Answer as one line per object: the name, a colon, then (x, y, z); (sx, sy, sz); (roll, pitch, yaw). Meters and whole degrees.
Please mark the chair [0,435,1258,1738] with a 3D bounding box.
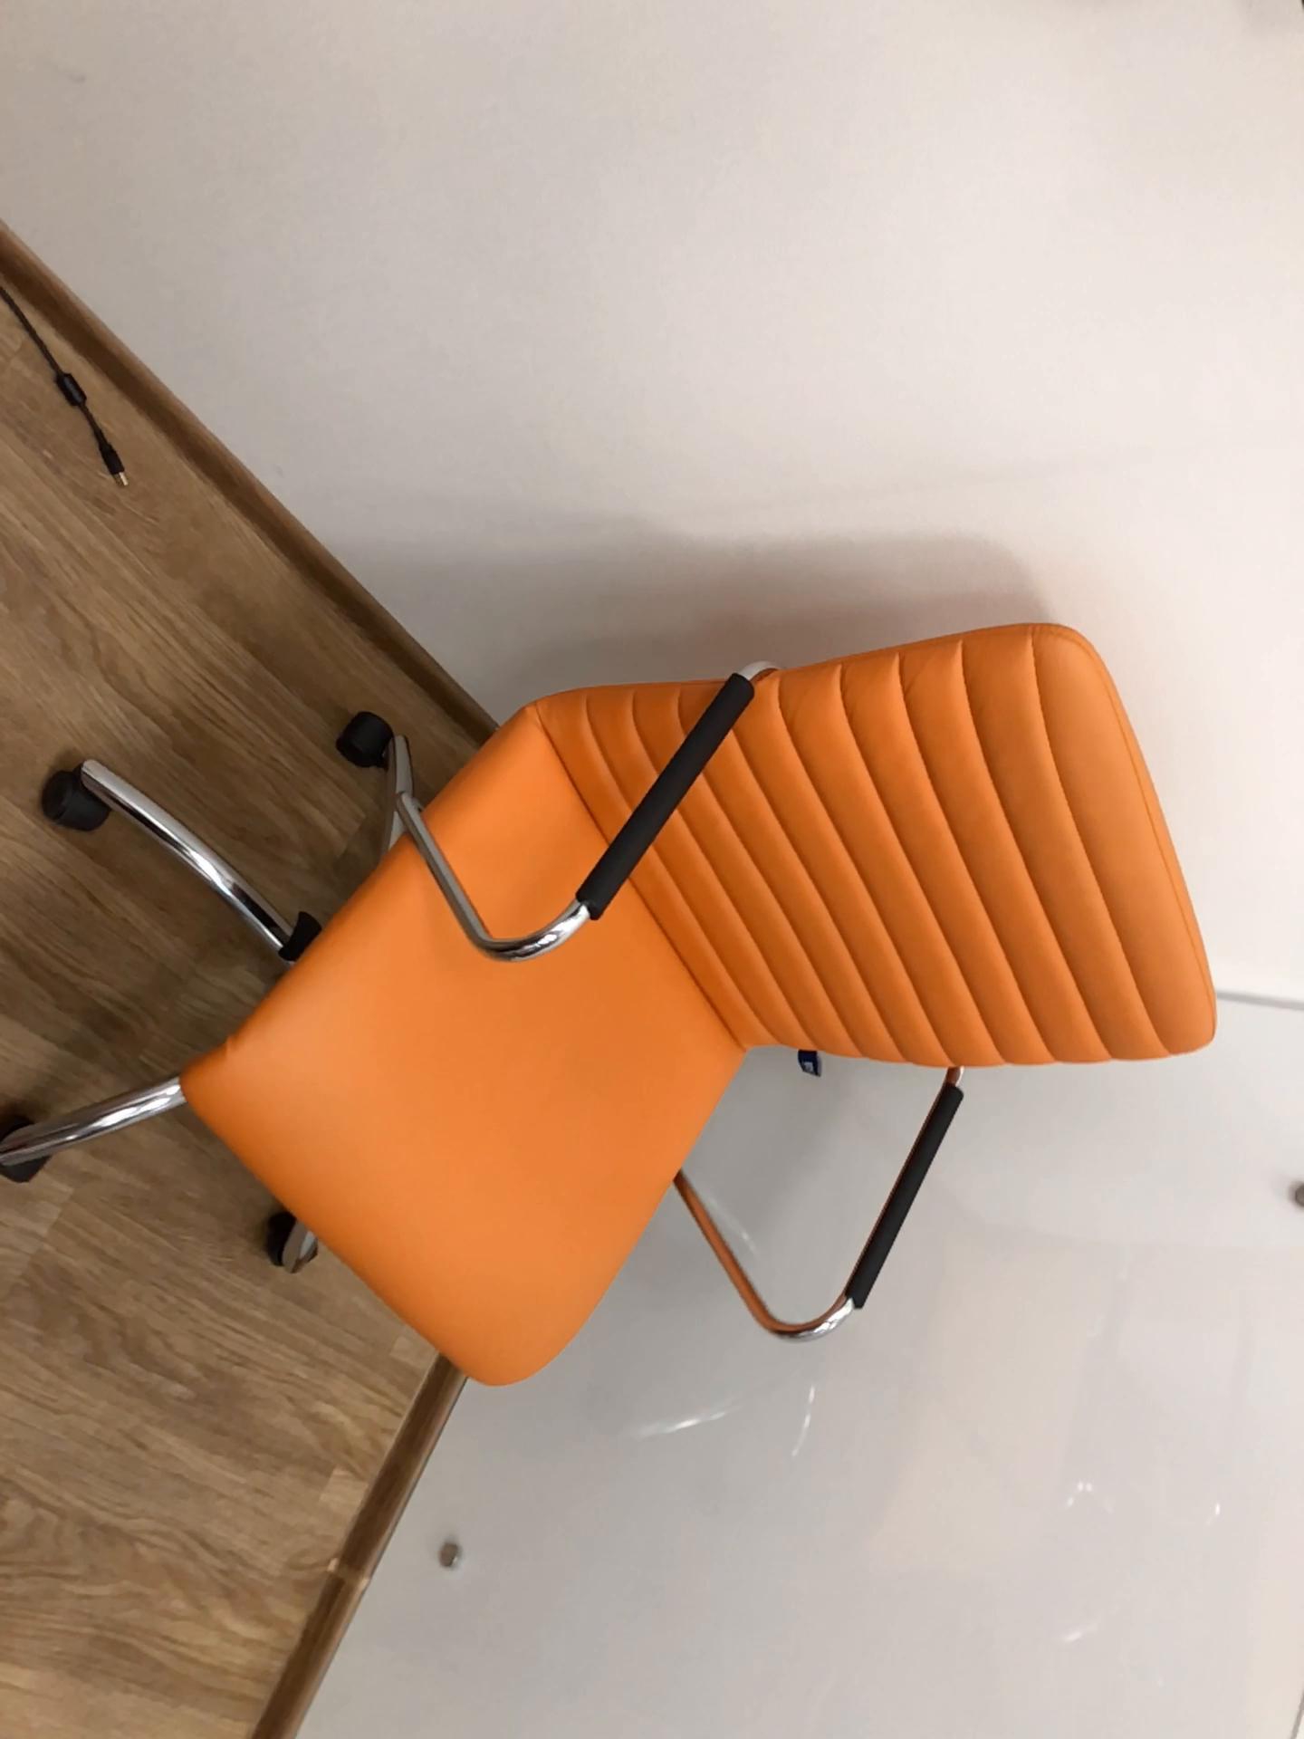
chair: (-0.096, 0.143, 1.236); (0.622, 0.895, 0.662); (53, 57, -38)
